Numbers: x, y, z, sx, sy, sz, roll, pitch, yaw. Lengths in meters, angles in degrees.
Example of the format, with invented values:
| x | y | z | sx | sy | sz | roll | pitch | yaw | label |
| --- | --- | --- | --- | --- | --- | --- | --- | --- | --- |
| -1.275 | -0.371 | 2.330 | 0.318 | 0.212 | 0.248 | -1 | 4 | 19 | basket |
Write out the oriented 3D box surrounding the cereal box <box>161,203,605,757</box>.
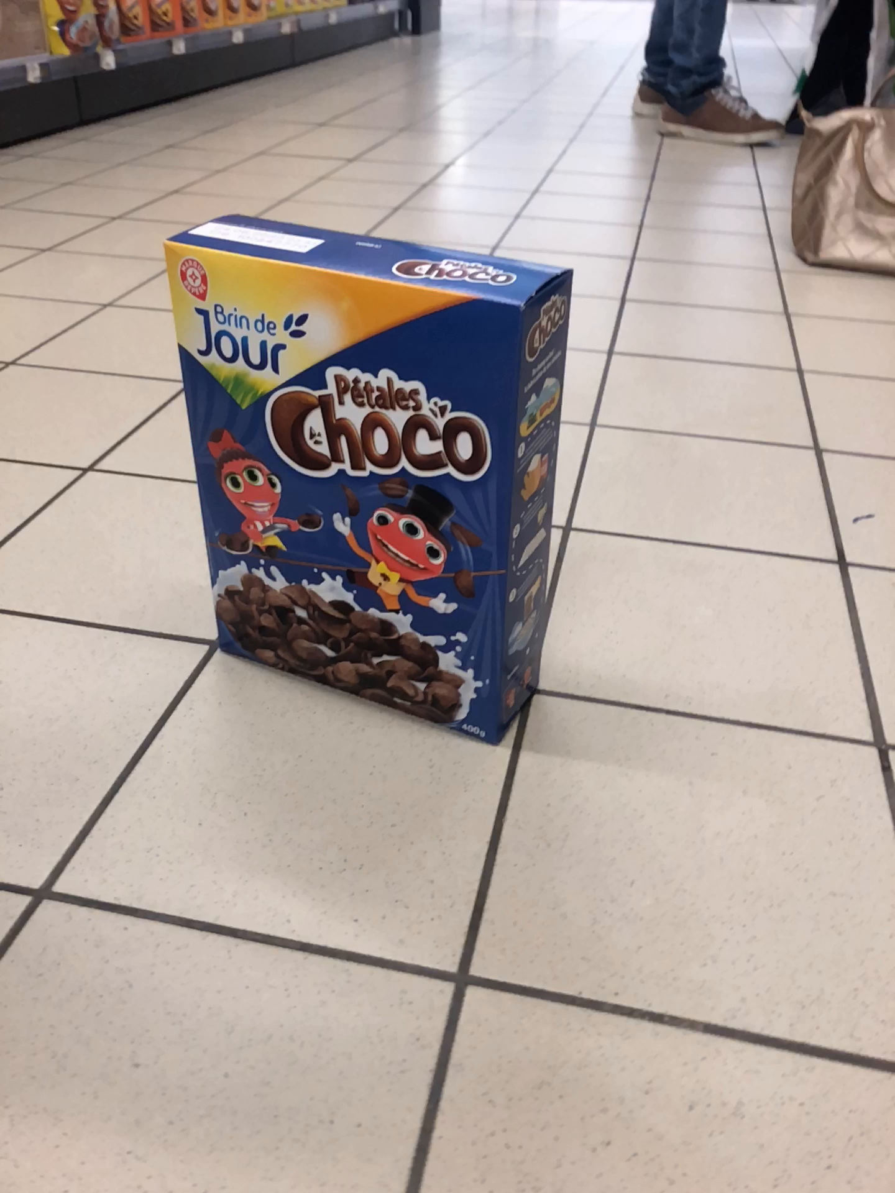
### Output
| x | y | z | sx | sy | sz | roll | pitch | yaw | label |
| --- | --- | --- | --- | --- | --- | --- | --- | --- | --- |
| -0.035 | -0.062 | 0.527 | 0.200 | 0.248 | 0.070 | 17 | 36 | 23 | cereal box |
